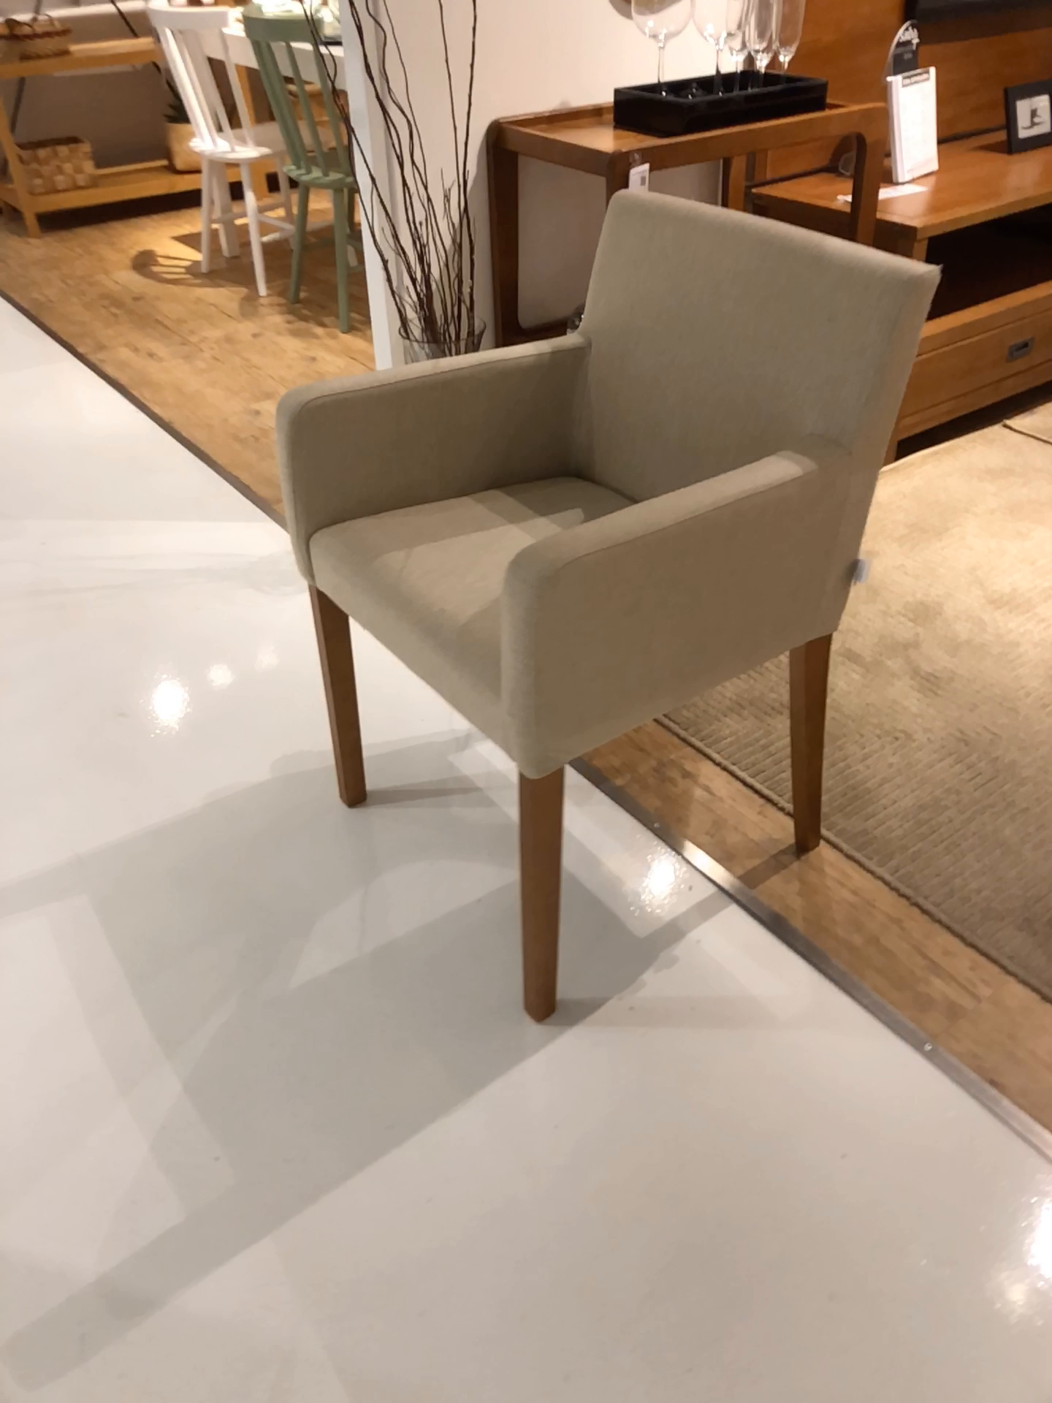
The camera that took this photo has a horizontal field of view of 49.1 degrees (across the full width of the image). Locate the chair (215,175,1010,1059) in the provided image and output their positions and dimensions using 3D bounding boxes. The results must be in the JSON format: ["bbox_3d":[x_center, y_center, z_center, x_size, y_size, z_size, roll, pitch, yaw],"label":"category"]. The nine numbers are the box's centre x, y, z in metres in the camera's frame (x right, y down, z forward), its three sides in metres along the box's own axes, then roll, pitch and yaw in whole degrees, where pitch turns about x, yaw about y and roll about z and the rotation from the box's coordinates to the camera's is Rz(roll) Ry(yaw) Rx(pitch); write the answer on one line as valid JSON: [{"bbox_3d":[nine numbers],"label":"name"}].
[{"bbox_3d":[0.083,-0.152,1.479,0.622,0.793,0.603,-23,41,-27],"label":"chair"}]
